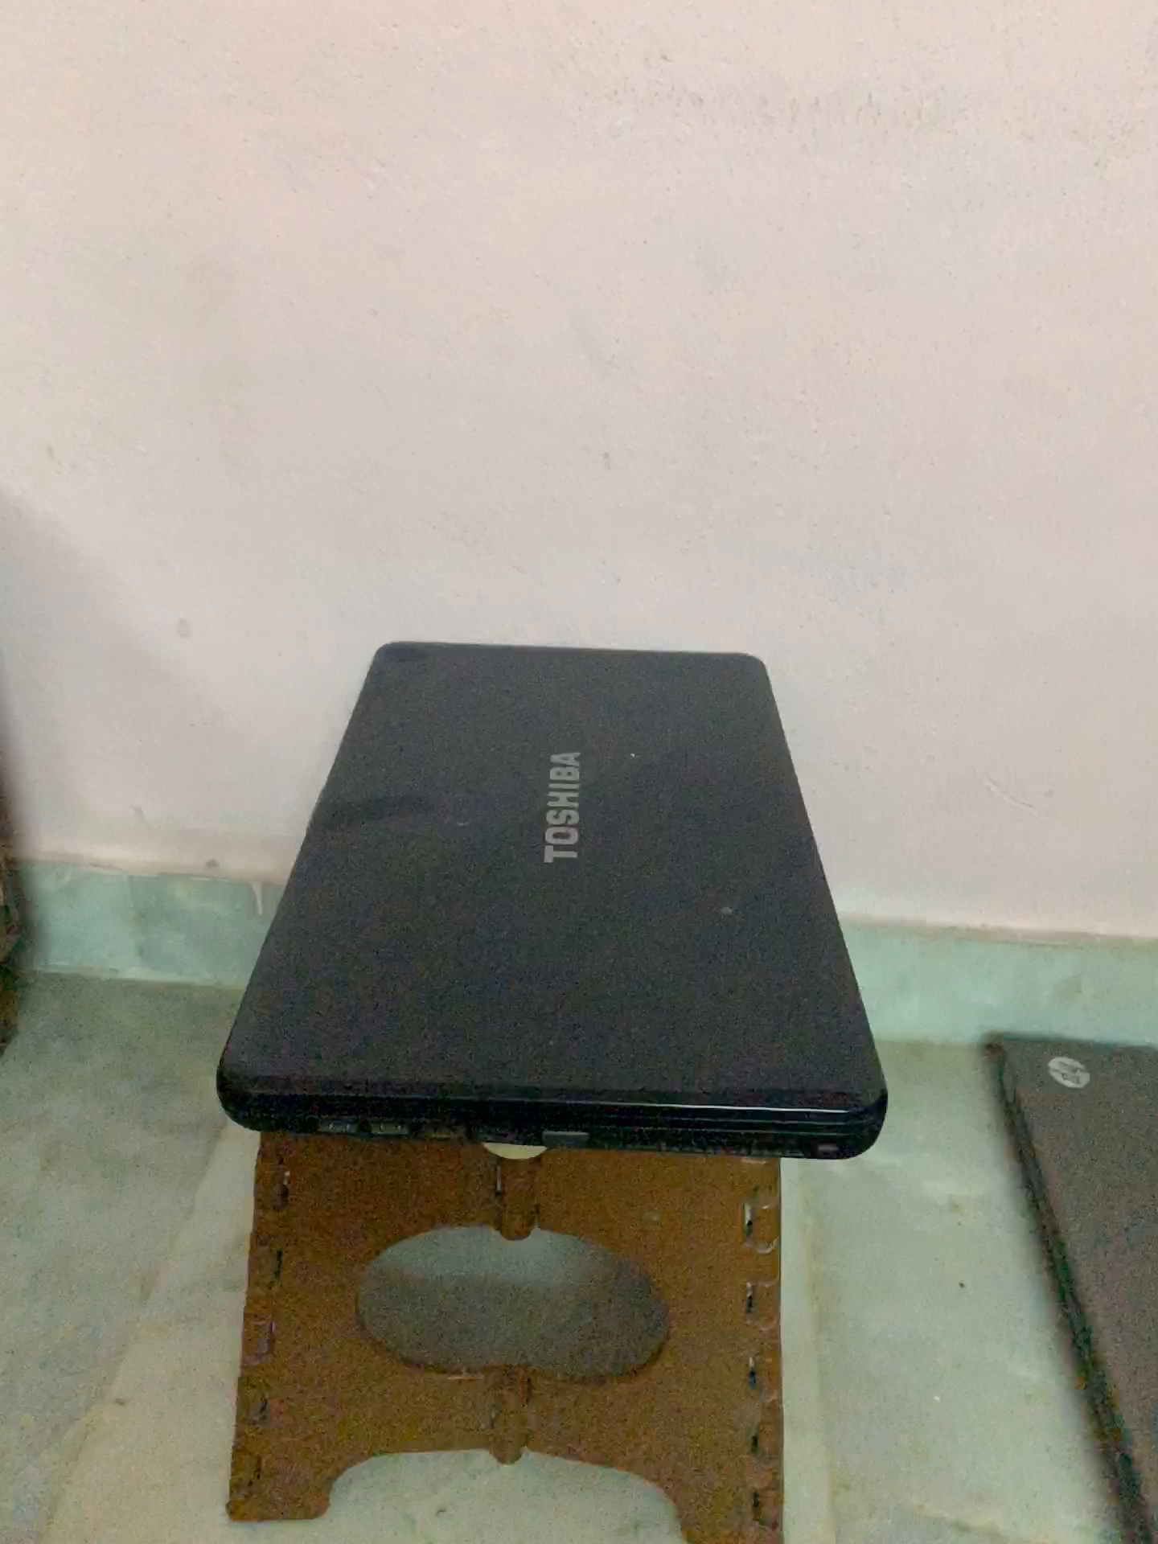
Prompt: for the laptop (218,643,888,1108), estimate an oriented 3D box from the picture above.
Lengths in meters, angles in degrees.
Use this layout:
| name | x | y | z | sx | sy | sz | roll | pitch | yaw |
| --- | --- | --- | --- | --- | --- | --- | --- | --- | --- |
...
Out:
| name | x | y | z | sx | sy | sz | roll | pitch | yaw |
| --- | --- | --- | --- | --- | --- | --- | --- | --- | --- |
| laptop | -0.007 | 0.019 | 0.577 | 0.236 | 0.001 | 0.370 | 2 | 30 | 0 |
